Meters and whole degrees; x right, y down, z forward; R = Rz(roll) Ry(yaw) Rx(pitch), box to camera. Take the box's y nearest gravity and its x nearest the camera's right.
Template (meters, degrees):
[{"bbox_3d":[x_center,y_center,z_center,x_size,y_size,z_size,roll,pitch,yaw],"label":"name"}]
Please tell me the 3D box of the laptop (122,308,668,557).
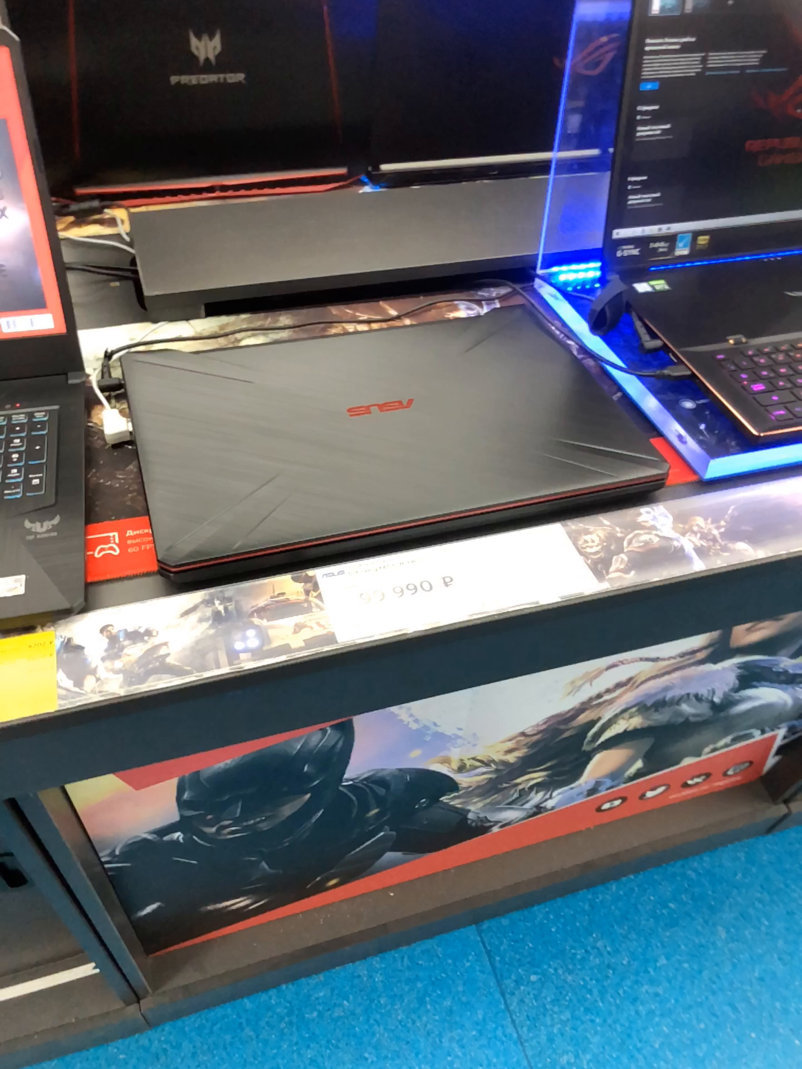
[{"bbox_3d":[-0.018,-0.103,0.722,0.388,0.002,0.253,-11,44,-14],"label":"laptop"}]
